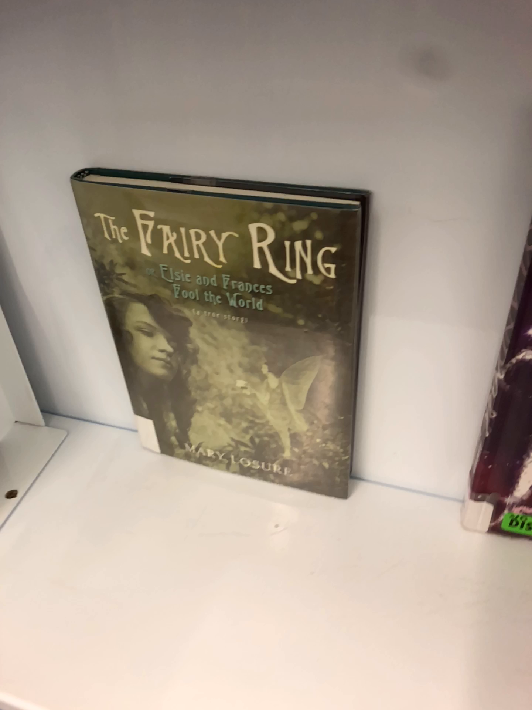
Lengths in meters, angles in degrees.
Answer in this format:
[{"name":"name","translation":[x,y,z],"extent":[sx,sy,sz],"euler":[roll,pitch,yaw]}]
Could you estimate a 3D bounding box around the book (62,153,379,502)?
[{"name":"book","translation":[-0.021,-0.008,0.332],"extent":[0.150,0.190,0.028],"euler":[10,38,17]}]
